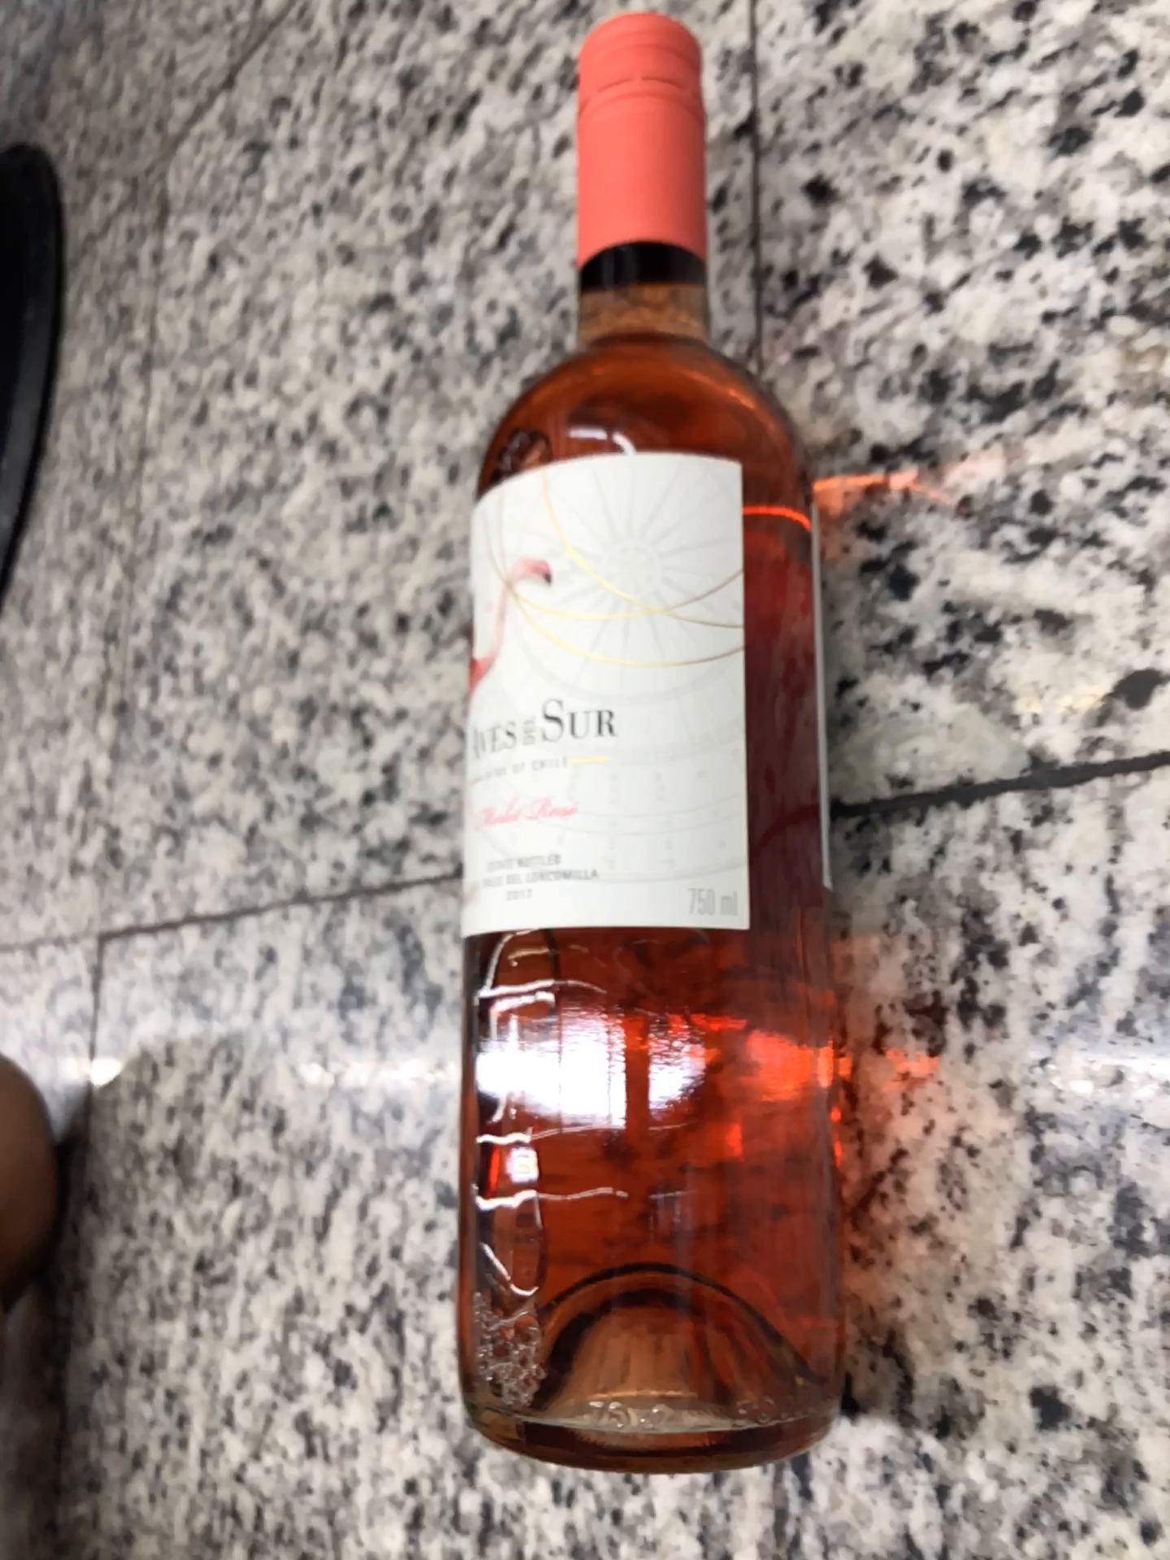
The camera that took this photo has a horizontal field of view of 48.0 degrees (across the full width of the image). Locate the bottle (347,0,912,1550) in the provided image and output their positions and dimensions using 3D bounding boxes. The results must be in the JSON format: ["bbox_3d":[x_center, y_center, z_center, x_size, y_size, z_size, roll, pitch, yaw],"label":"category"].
[{"bbox_3d":[0.008,-0.031,0.301,0.090,0.070,0.340,-15,70,48],"label":"bottle"}]
